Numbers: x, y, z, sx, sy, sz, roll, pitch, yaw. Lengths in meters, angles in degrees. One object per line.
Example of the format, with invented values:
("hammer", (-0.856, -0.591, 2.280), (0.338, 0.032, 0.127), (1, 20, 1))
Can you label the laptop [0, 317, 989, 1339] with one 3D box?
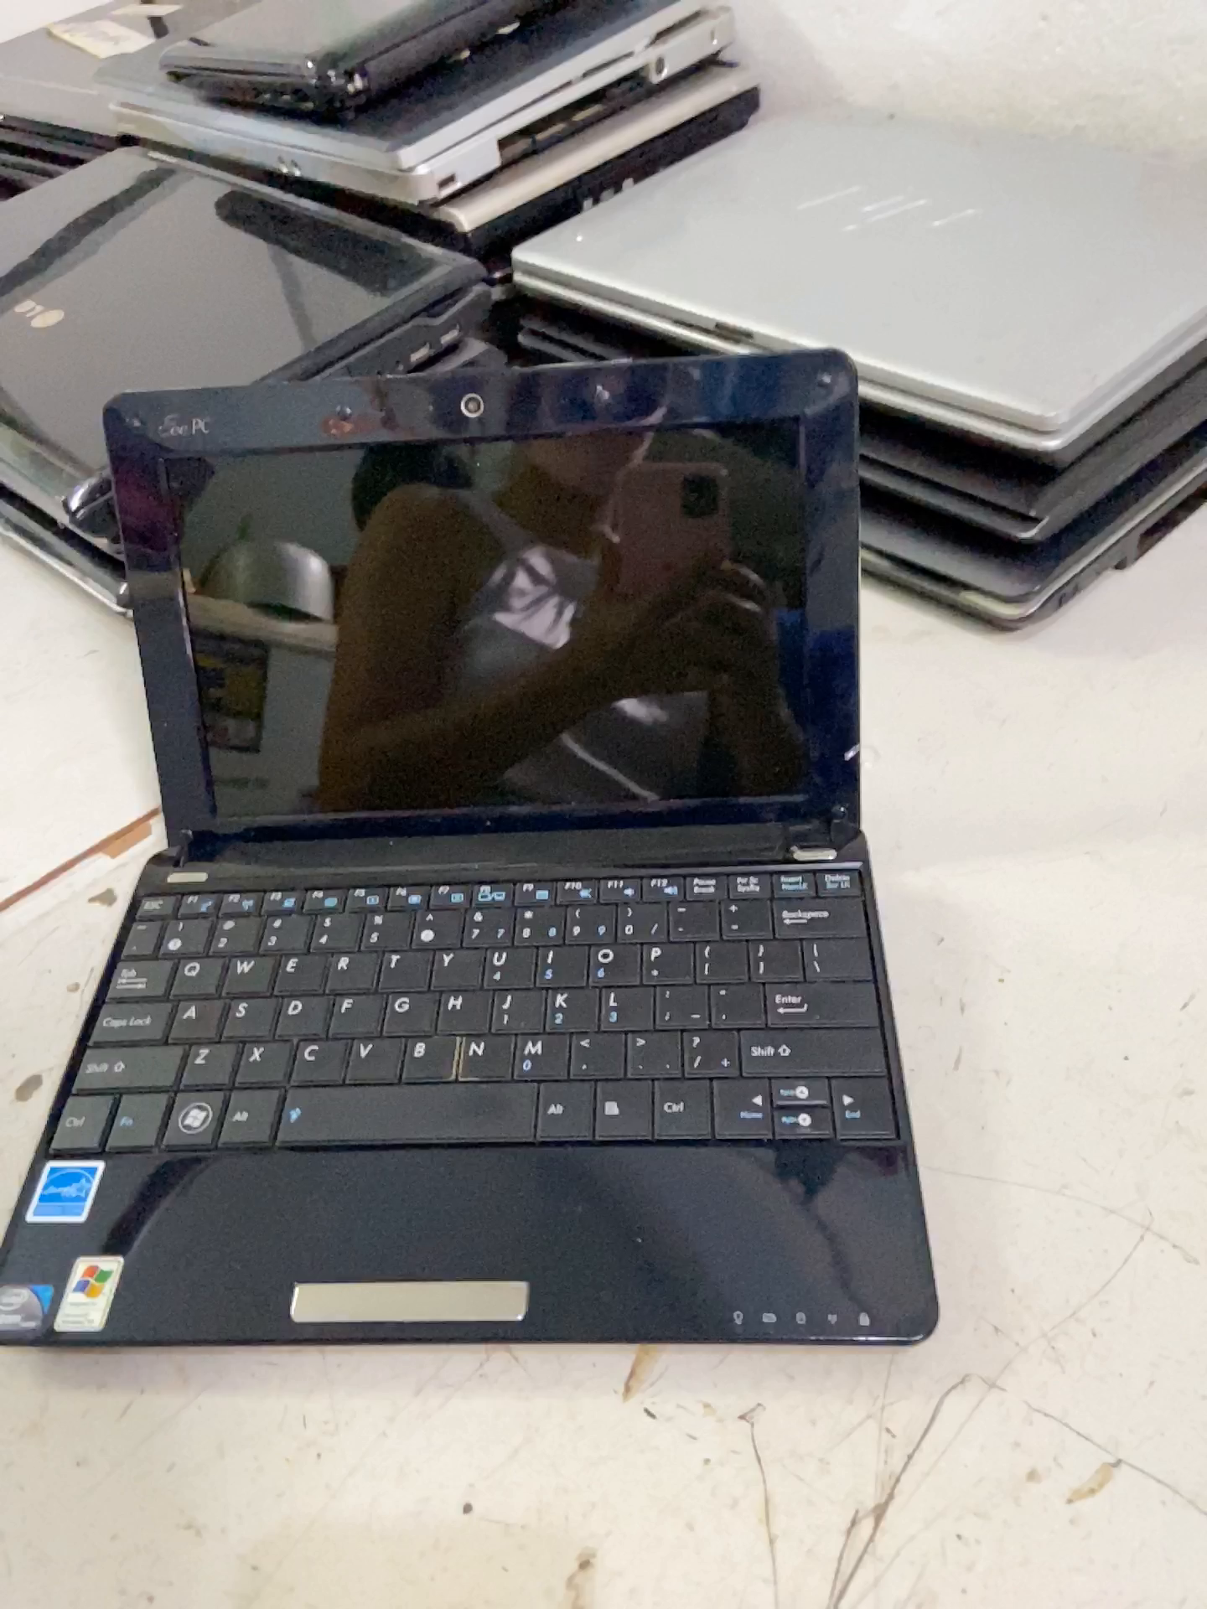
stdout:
("laptop", (-0.044, -0.007, 0.380), (0.260, 0.133, 0.274), (-3, 46, 6))
